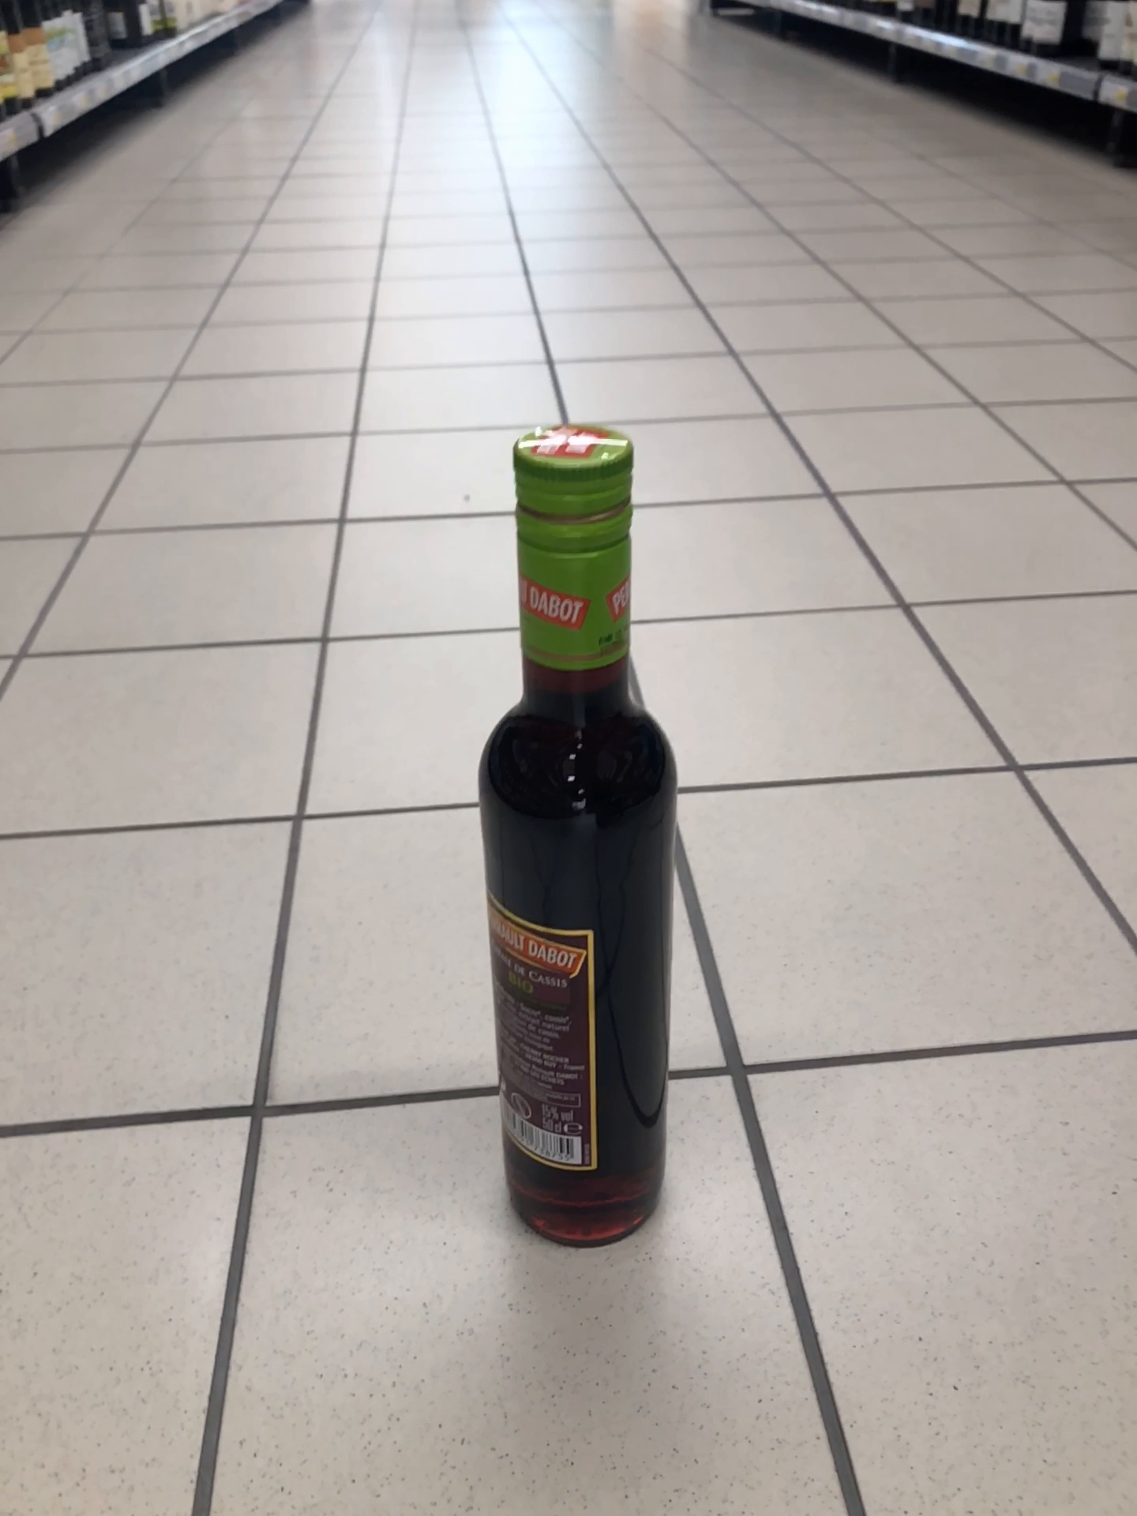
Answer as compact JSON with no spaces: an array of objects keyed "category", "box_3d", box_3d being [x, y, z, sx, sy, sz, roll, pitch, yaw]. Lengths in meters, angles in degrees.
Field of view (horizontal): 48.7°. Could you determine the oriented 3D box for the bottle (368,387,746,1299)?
[{"category":"bottle","box_3d":[0.000,0.040,0.400,0.070,0.288,0.070,-1,32,0]}]
